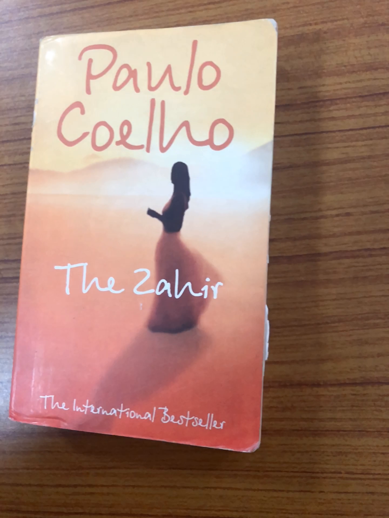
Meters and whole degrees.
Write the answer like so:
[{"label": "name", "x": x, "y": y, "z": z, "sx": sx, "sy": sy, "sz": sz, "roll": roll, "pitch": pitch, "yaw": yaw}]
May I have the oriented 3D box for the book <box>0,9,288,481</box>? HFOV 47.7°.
[{"label": "book", "x": -0.024, "y": -0.010, "z": 0.196, "sx": 0.120, "sy": 0.040, "sz": 0.180, "roll": 2, "pitch": 85, "yaw": 10}]
